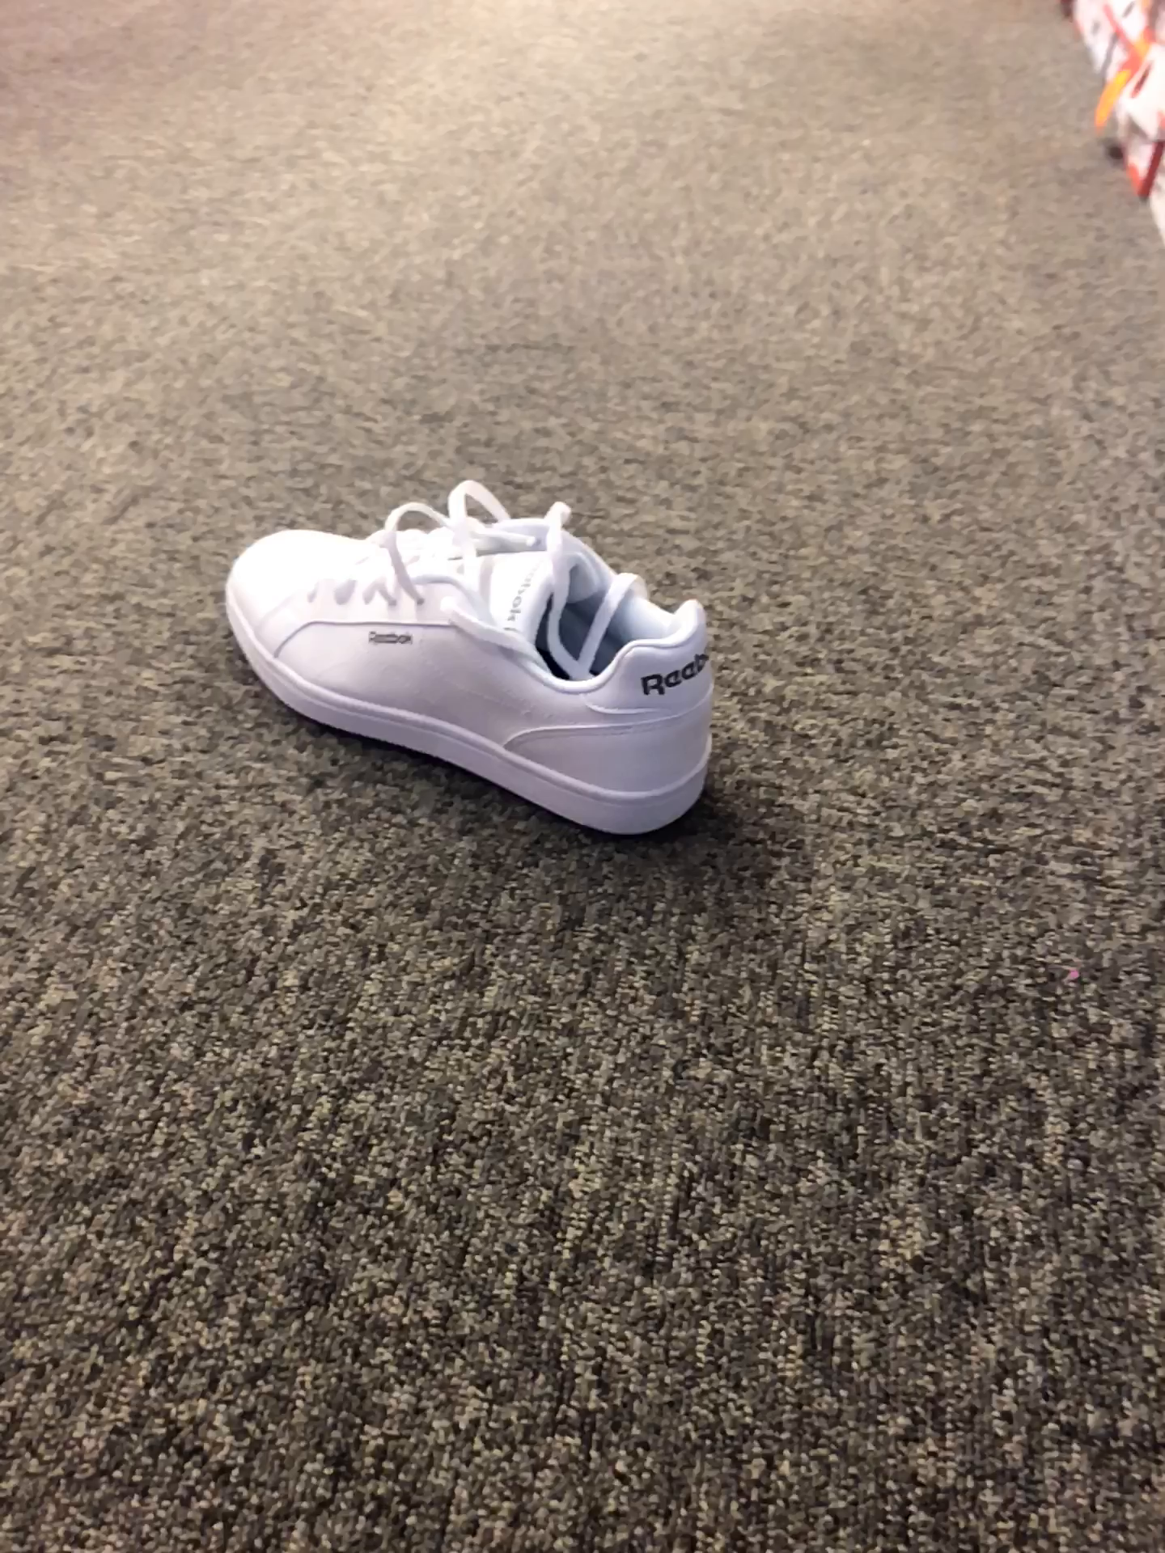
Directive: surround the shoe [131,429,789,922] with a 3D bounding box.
[{"bbox_3d":[-0.054,-0.055,0.537,0.260,0.099,0.101,23,46,31],"label":"shoe"}]
